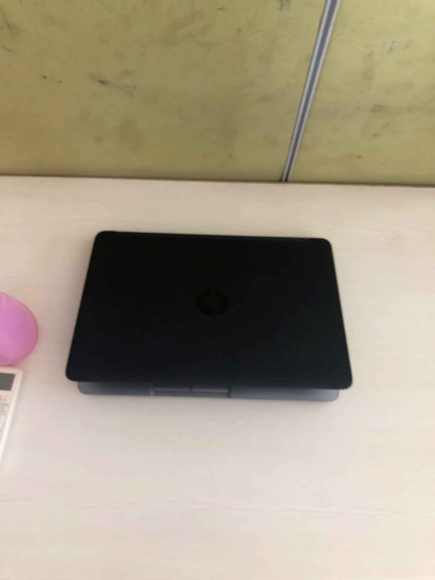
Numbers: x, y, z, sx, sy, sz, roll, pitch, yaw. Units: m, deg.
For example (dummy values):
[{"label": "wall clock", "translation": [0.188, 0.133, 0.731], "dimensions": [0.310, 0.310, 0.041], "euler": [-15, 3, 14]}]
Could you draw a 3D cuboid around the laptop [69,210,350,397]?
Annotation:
[{"label": "laptop", "translation": [-0.004, 0.015, 0.629], "dimensions": [0.330, 0.050, 0.226], "euler": [3, 69, 0]}]
